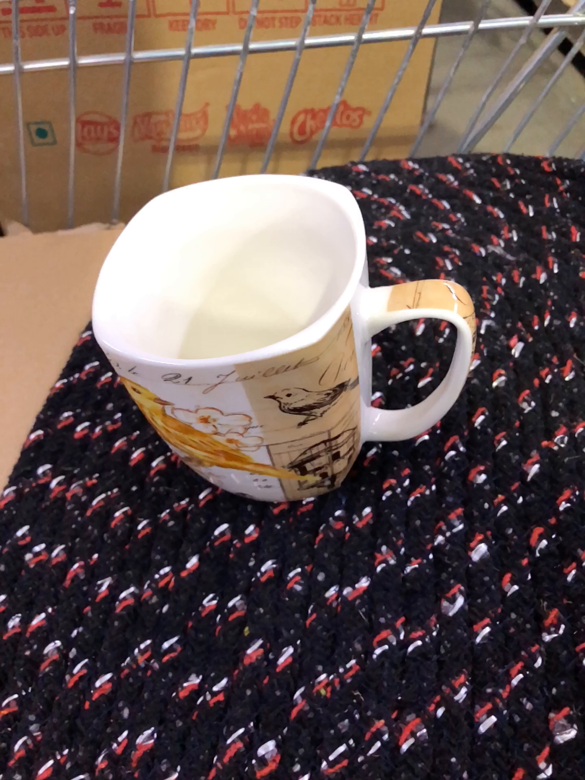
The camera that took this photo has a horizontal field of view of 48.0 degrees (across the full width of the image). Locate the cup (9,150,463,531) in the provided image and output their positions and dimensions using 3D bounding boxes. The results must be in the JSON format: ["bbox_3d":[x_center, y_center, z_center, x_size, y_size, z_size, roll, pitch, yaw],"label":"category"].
[{"bbox_3d":[-0.005,-0.015,0.223,0.120,0.080,0.090,-1,50,15],"label":"cup"}]
